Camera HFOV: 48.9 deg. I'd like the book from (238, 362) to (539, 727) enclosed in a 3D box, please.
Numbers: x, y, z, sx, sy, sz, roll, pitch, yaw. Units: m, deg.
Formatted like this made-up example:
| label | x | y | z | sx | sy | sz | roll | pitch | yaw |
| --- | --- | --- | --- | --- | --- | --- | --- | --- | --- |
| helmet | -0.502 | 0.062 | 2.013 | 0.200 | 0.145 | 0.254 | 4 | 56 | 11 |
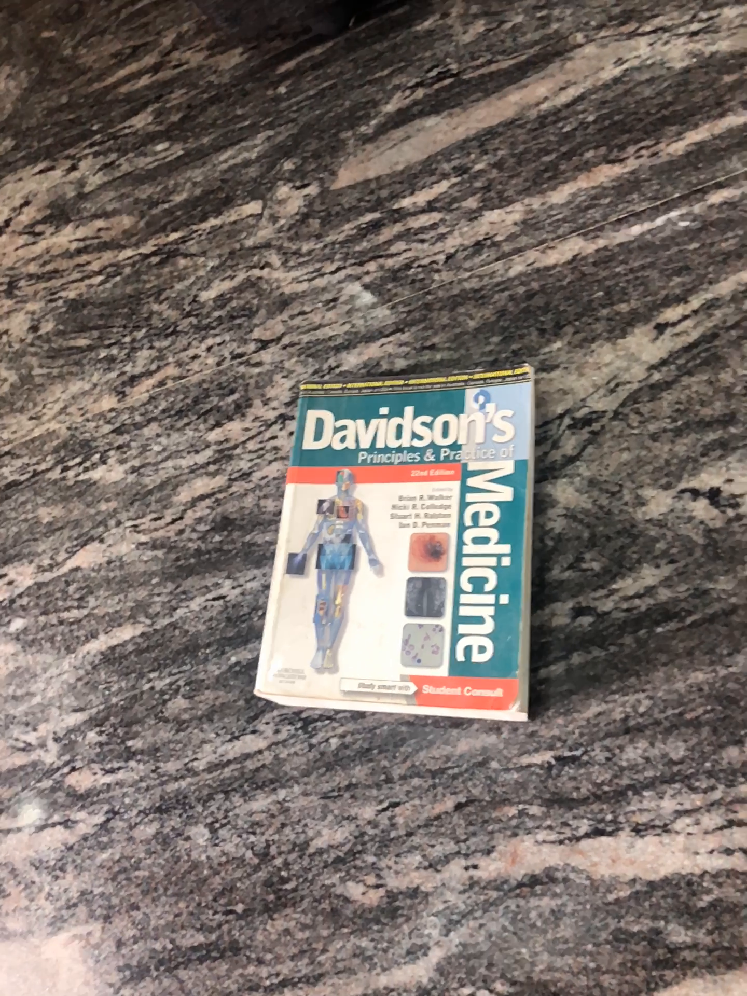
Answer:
| label | x | y | z | sx | sy | sz | roll | pitch | yaw |
| --- | --- | --- | --- | --- | --- | --- | --- | --- | --- |
| book | 0.020 | 0.033 | 0.638 | 0.200 | 0.070 | 0.260 | -1 | 68 | 18 |
